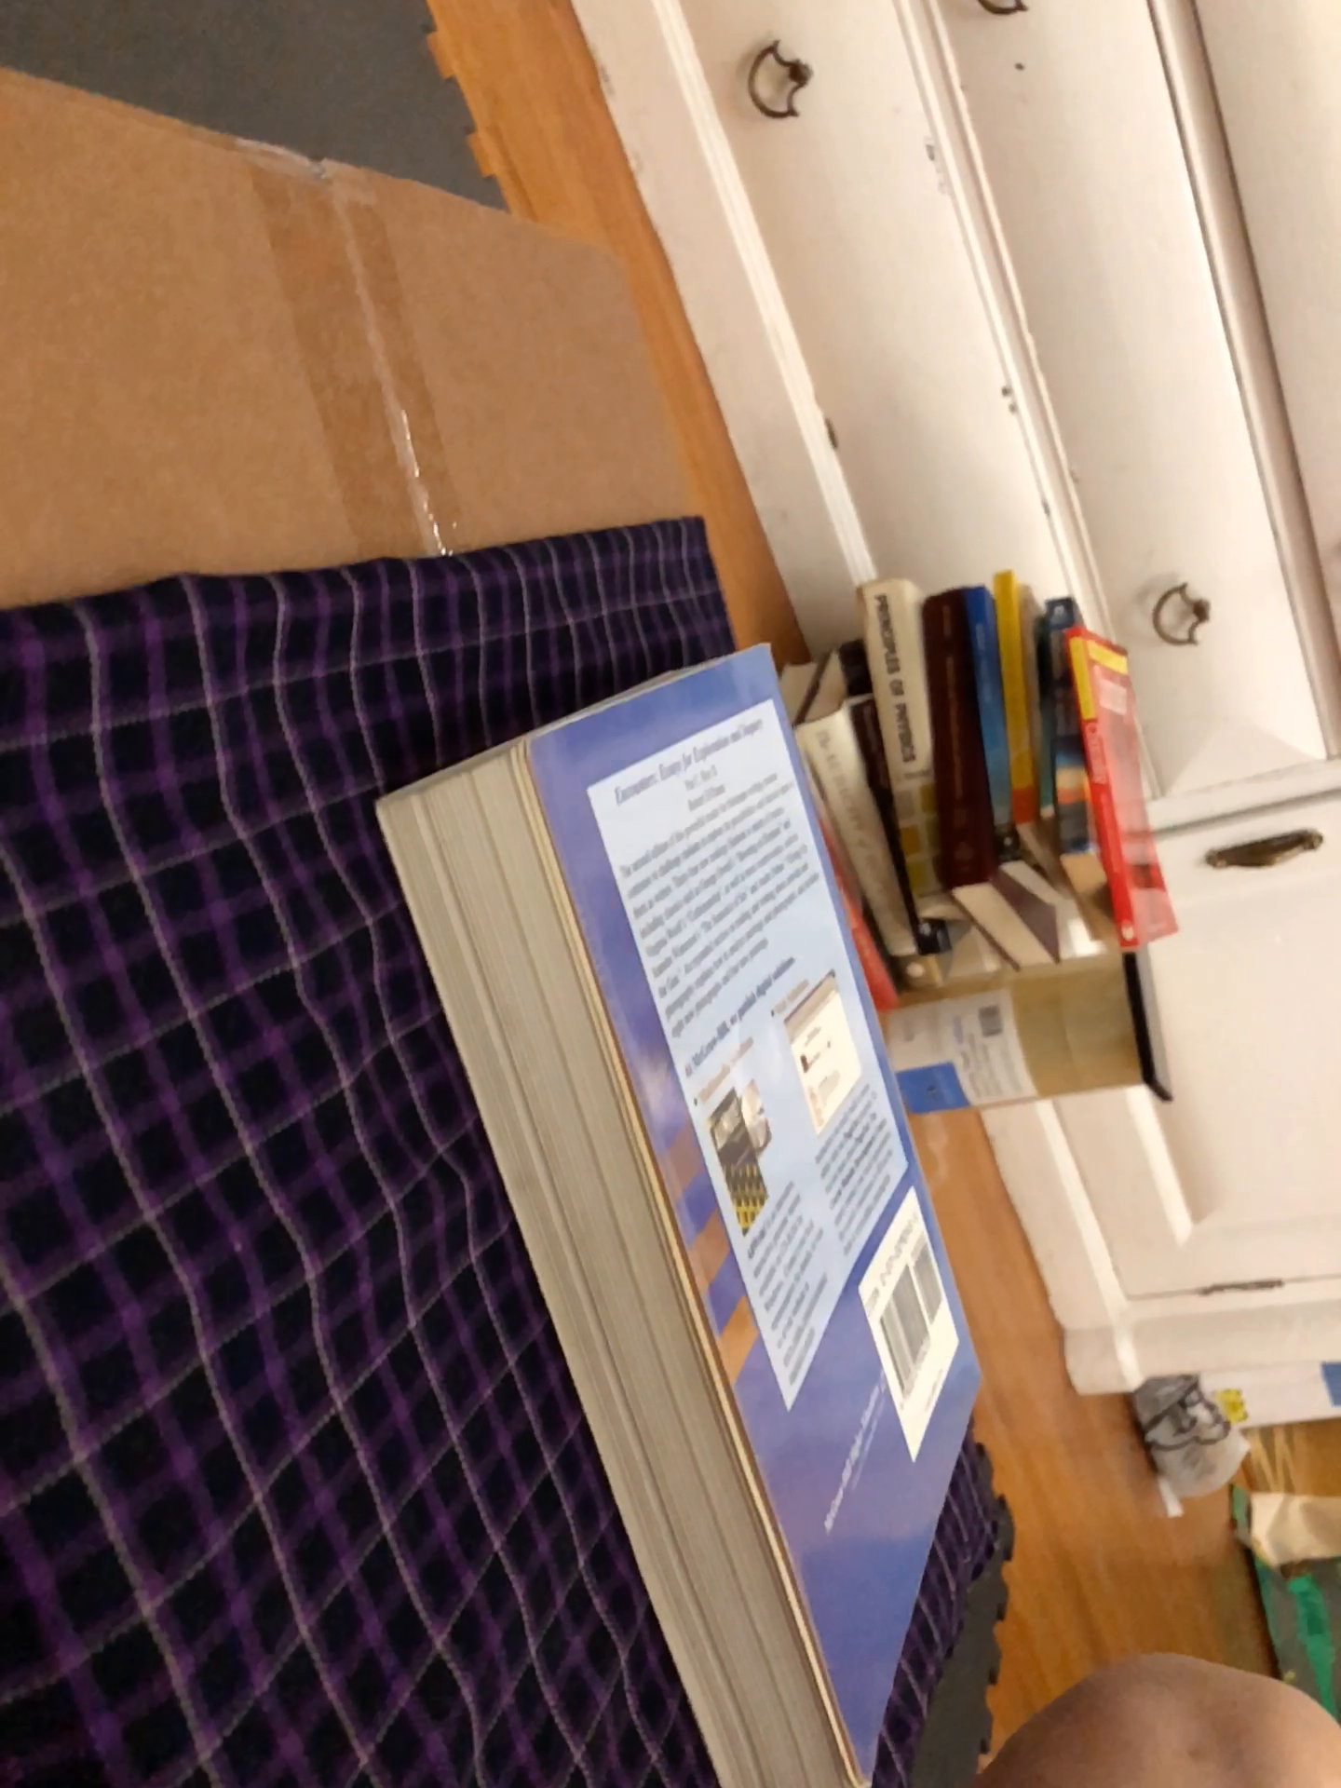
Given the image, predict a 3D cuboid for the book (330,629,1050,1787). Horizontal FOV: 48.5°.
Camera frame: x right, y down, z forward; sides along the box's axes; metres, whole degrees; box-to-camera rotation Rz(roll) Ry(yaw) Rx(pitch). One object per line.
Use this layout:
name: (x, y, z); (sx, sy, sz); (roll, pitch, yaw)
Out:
book: (0.028, 0.071, 0.356); (0.181, 0.040, 0.240); (-40, 114, -62)
